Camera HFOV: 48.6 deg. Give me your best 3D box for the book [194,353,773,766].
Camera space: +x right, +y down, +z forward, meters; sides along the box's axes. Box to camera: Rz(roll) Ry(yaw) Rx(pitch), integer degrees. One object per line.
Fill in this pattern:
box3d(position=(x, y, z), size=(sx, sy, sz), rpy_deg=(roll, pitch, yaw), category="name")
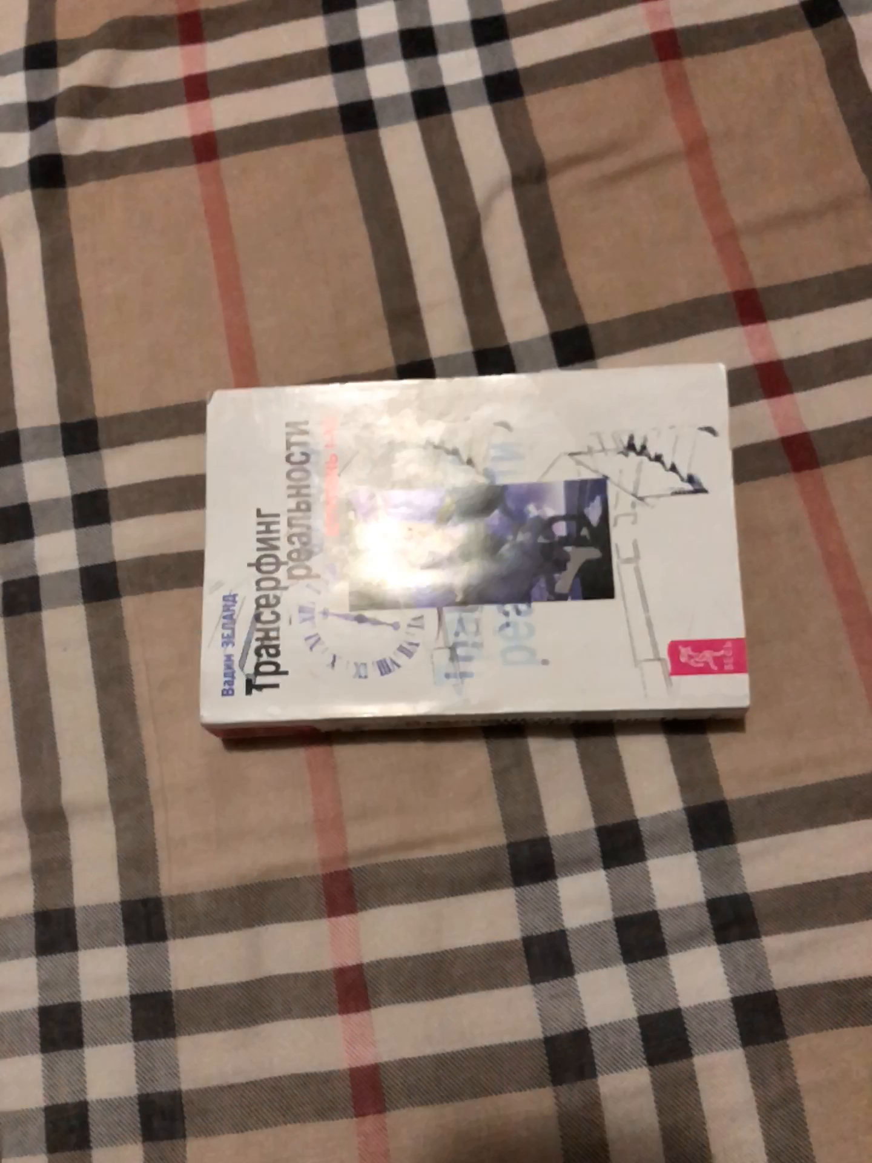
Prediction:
box3d(position=(0.013, -0.008, 0.374), size=(0.202, 0.038, 0.143), rpy_deg=(-4, 74, 1), category="book")
